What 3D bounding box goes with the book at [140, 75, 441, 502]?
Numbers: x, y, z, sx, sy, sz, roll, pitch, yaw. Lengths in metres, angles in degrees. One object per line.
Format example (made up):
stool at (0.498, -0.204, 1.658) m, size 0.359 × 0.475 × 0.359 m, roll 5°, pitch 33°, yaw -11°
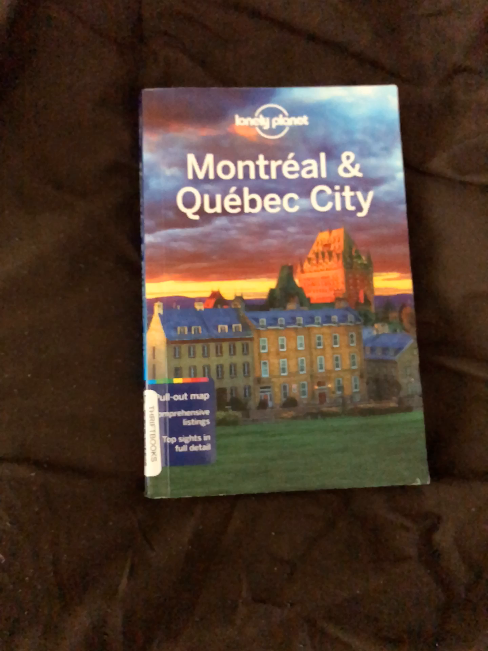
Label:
book at (0.019, -0.022, 0.277) m, size 0.137 × 0.024 × 0.205 m, roll -2°, pitch 83°, yaw -1°
